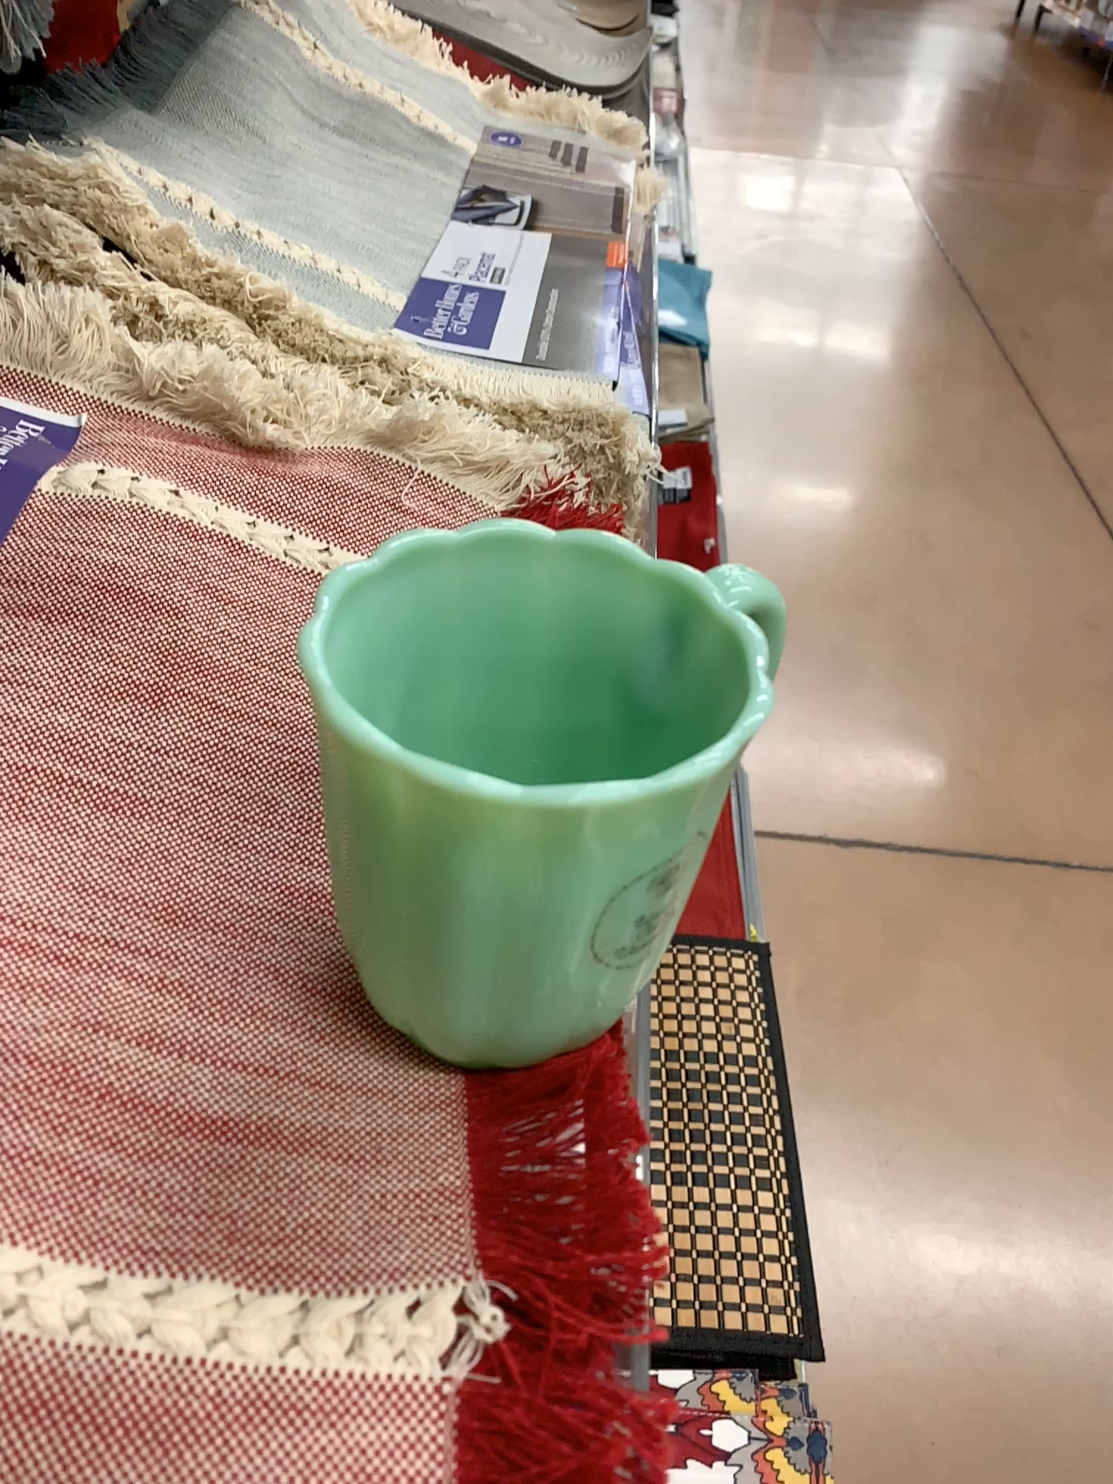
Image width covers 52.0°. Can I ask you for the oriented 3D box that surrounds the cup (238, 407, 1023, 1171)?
[{"bbox_3d":[0.015,0.000,0.254,0.130,0.090,0.090,-29,52,-34],"label":"cup"}]
